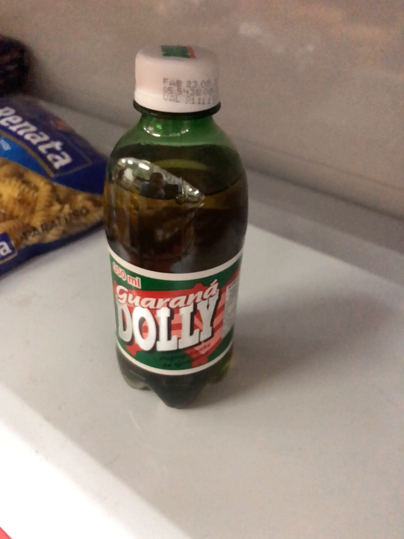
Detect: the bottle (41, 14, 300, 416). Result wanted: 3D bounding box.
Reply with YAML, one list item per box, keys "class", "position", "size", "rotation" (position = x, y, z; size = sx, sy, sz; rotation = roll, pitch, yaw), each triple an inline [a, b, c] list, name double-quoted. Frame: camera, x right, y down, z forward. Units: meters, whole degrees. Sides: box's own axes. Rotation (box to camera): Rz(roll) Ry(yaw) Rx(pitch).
- class: "bottle"
  position: [-0.009, -0.015, 0.222]
  size: [0.080, 0.179, 0.071]
  rotation: [4, 38, 3]
